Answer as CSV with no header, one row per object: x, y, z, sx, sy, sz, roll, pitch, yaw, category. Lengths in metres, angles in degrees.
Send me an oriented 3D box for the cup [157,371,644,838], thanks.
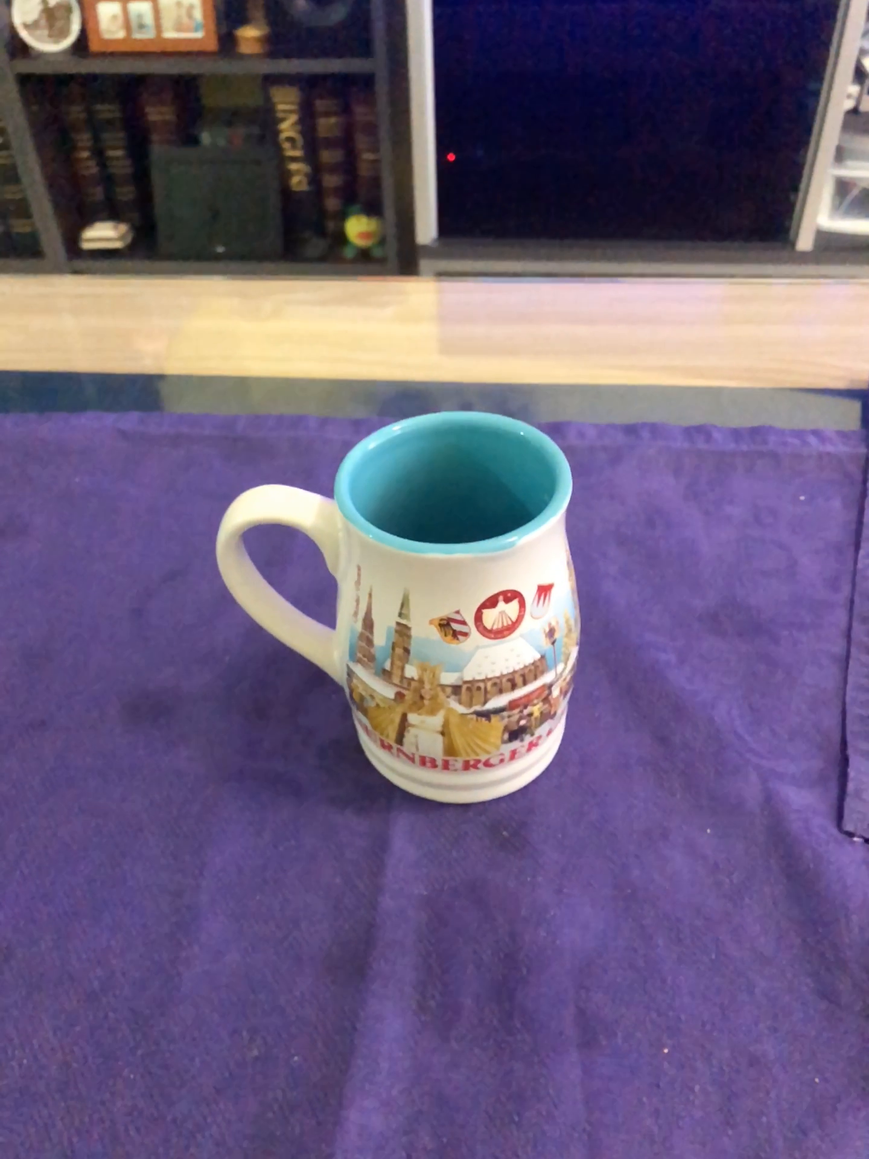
-0.002,0.007,0.302,0.120,0.110,0.080,5,42,8,cup
